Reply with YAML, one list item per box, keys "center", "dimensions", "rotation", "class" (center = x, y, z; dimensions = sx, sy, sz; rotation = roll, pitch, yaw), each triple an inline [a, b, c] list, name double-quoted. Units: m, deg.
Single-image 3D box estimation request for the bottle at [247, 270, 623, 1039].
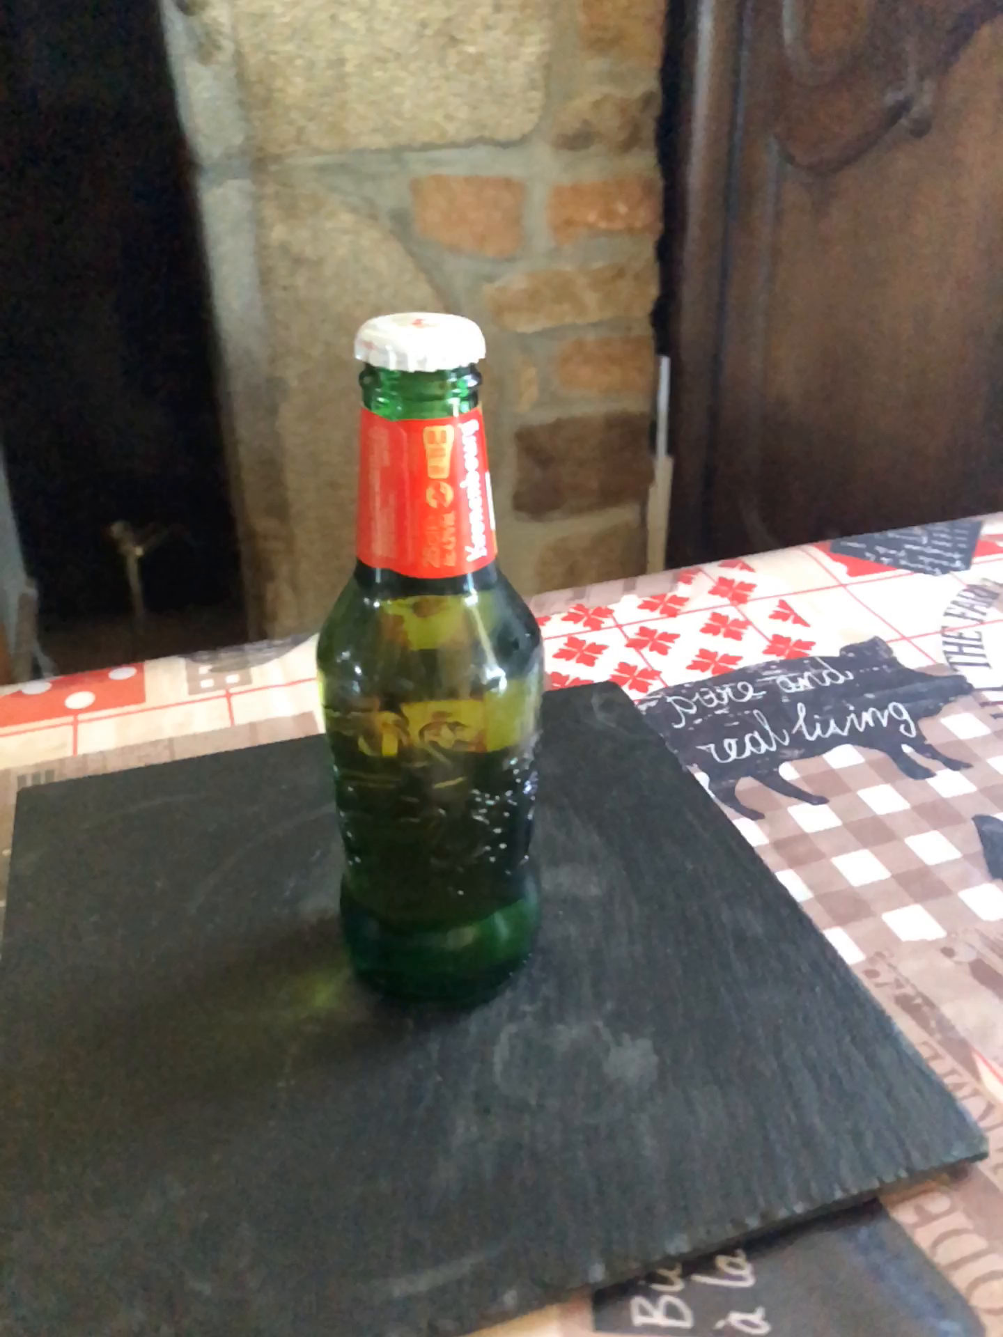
- center: [-0.015, -0.001, 0.286]
  dimensions: [0.060, 0.179, 0.060]
  rotation: [-1, 29, 0]
  class: "bottle"
